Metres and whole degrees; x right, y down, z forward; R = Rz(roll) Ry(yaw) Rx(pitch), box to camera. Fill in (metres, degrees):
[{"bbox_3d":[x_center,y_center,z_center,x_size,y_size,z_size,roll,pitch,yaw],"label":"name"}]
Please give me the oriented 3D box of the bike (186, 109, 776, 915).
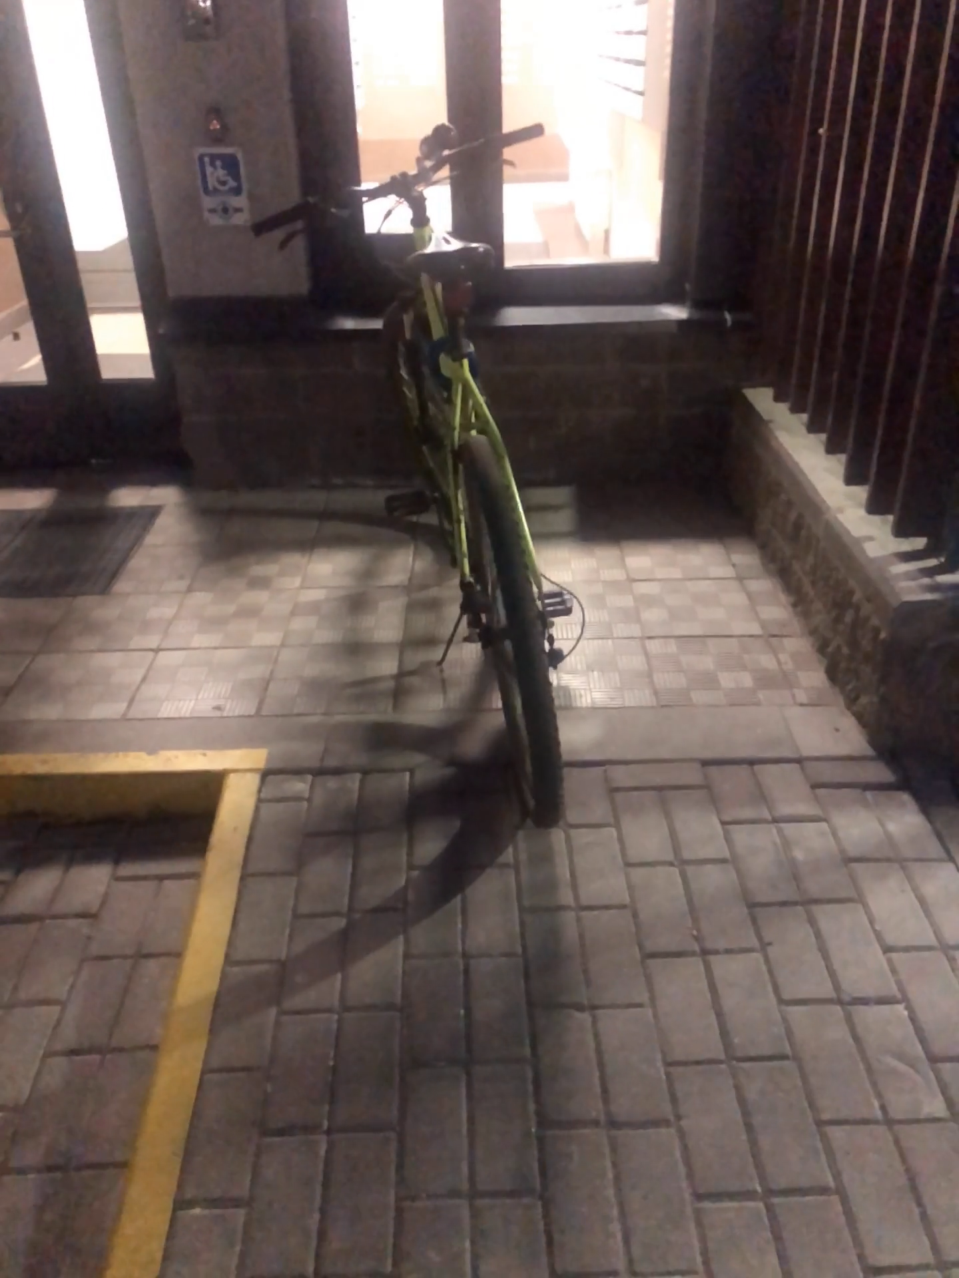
[{"bbox_3d":[-0.150,-0.478,2.288,0.720,1.095,1.768,-7,30,-9],"label":"bike"}]
